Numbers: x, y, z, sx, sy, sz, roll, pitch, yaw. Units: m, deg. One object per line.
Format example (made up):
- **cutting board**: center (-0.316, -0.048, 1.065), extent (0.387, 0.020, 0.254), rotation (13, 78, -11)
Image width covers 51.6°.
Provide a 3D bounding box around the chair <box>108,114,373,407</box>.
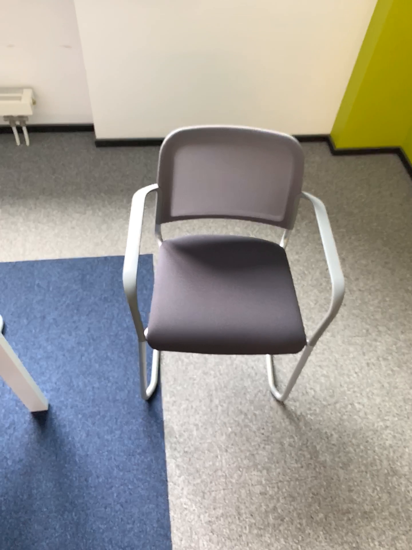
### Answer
- **chair**: center (0.049, 0.008, 1.294), extent (0.530, 0.727, 0.522), rotation (3, 53, -3)
